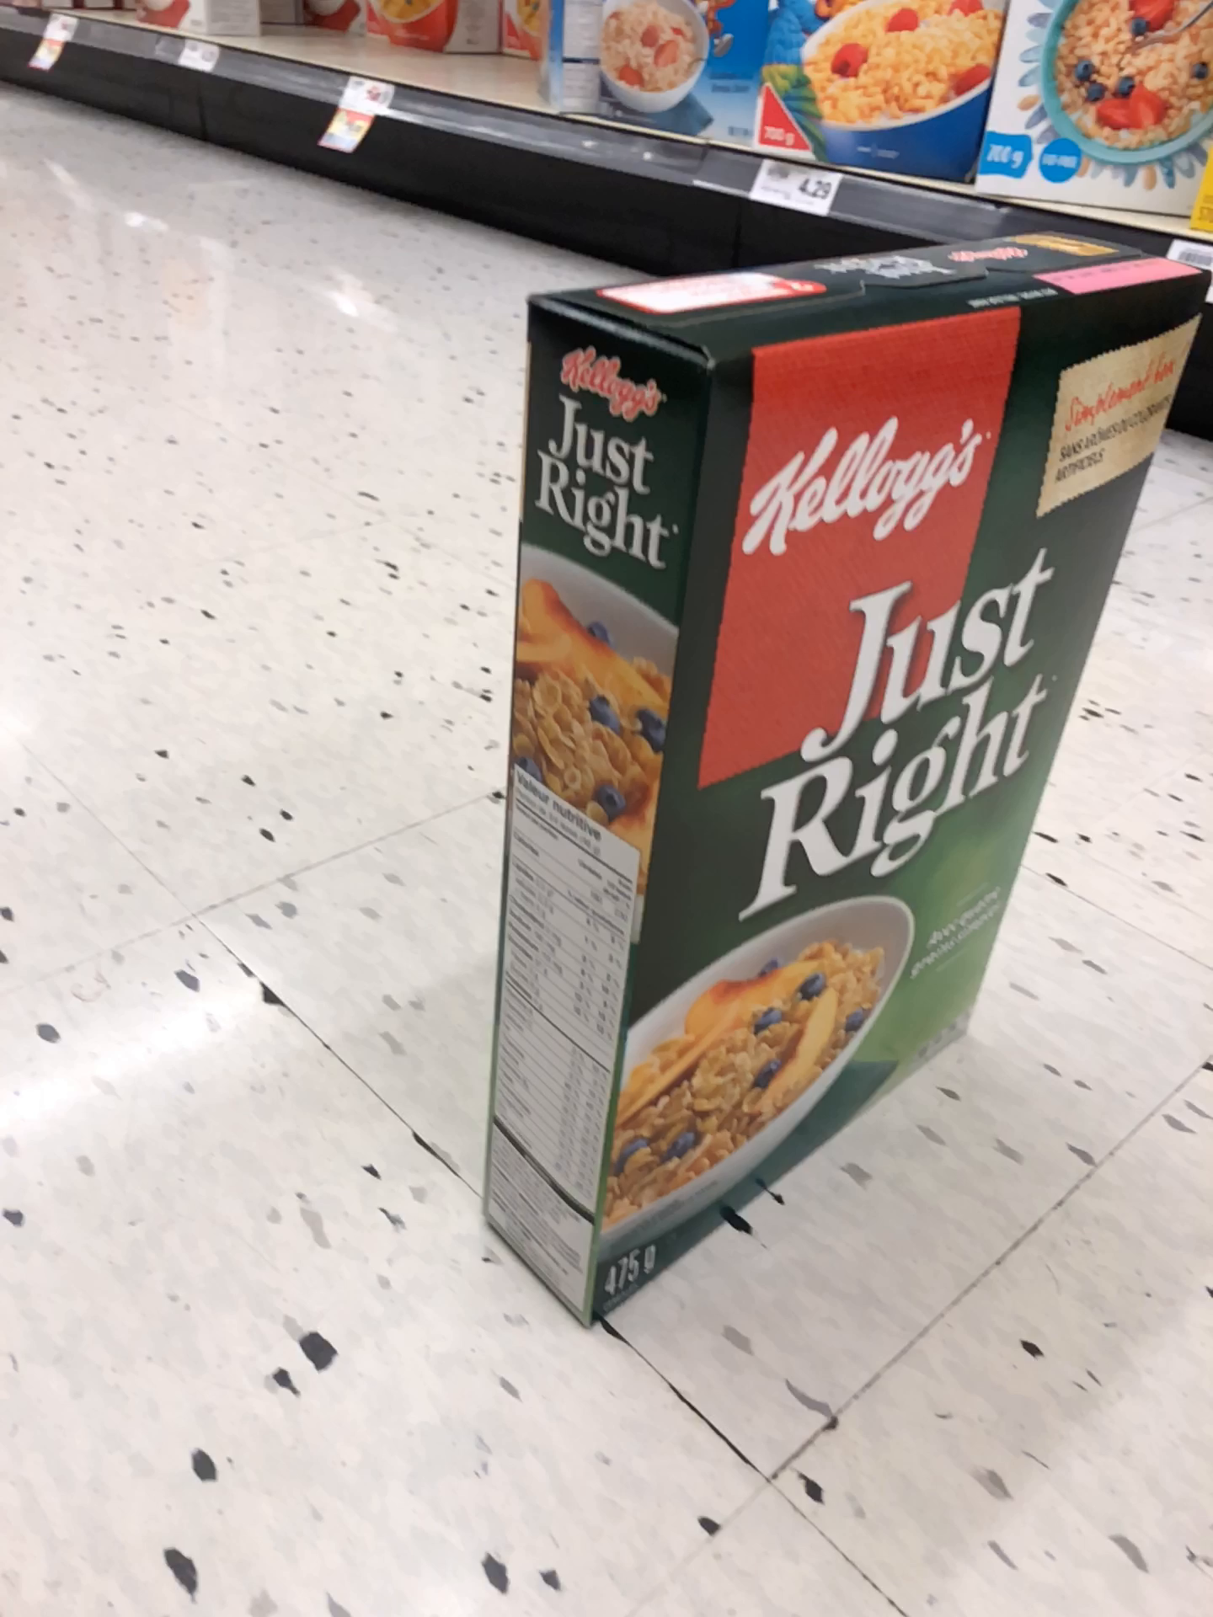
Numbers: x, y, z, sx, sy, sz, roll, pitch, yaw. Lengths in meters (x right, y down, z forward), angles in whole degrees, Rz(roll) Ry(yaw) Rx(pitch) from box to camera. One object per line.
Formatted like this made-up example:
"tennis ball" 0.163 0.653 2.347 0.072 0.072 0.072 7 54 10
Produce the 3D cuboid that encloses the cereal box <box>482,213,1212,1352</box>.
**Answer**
"cereal box" 0.069 -0.009 0.368 0.211 0.268 0.050 -23 43 -37
